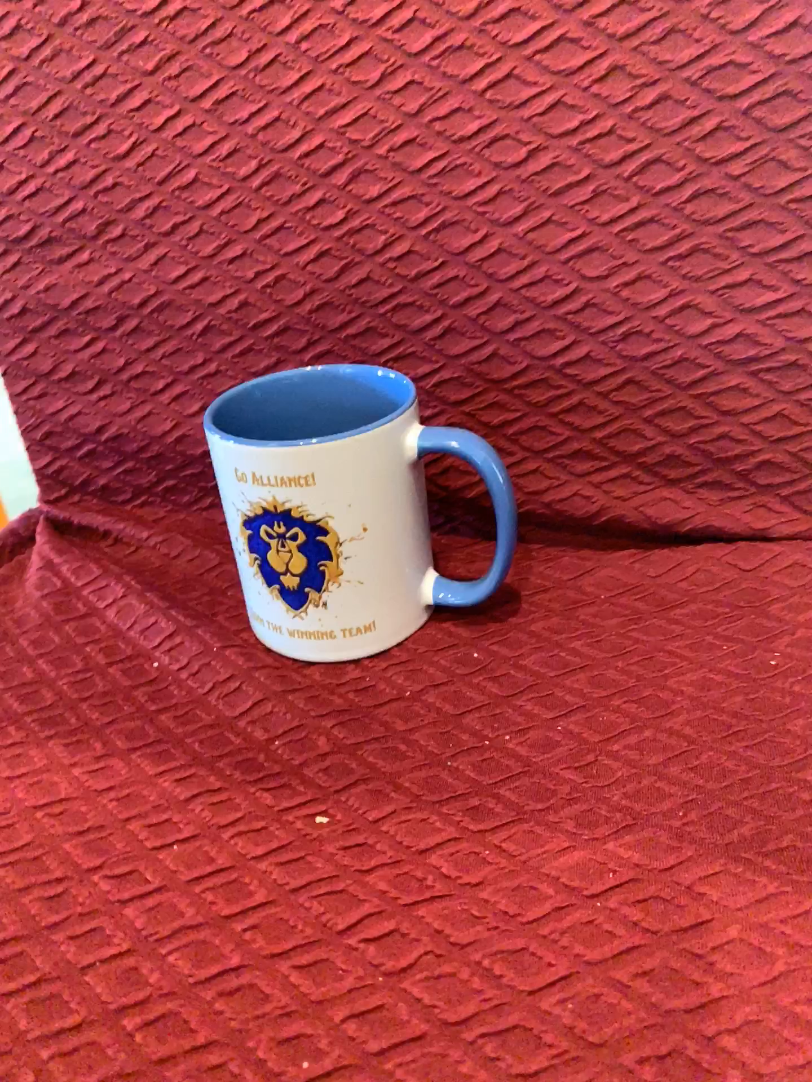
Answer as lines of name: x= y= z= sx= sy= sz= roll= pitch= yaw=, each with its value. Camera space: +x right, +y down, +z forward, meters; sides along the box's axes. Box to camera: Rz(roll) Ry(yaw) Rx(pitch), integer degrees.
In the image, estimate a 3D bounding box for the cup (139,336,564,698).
cup: x=-0.011 y=-0.018 z=0.337 sx=0.130 sy=0.099 sz=0.100 roll=5 pitch=32 yaw=19
